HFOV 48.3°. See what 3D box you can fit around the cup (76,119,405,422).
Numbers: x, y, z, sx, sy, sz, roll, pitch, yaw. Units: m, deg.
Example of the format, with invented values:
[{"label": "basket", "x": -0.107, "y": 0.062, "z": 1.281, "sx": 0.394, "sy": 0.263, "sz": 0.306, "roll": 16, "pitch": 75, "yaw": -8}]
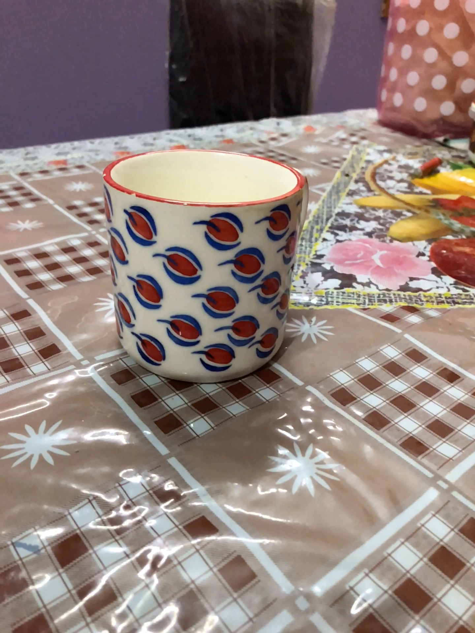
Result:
[{"label": "cup", "x": 0.005, "y": -0.031, "z": 0.229, "sx": 0.080, "sy": 0.079, "sz": 0.111, "roll": 24, "pitch": 36, "yaw": 30}]
